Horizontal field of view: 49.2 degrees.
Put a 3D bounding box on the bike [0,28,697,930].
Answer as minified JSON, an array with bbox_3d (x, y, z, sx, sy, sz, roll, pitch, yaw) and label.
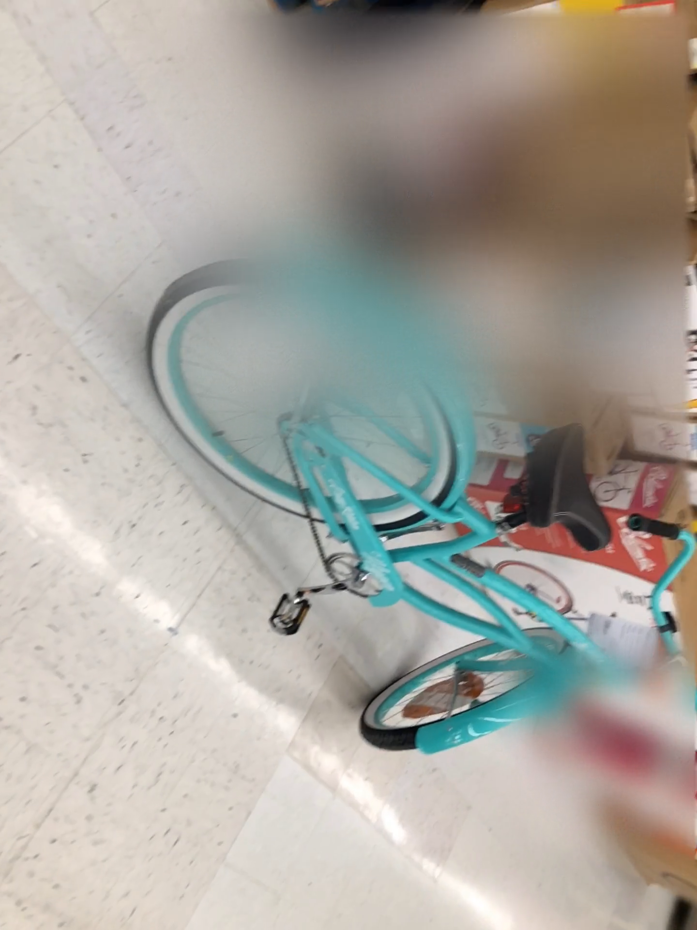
[{"bbox_3d":[0.370,0.176,1.624,1.589,1.152,0.852,47,61,-43],"label":"bike"}]
